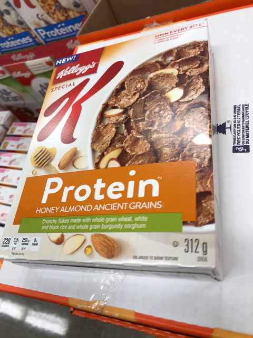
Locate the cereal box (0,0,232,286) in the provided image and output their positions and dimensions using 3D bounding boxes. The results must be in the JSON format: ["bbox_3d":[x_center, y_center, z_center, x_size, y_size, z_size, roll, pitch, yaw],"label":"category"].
[{"bbox_3d":[-0.011,-0.033,0.285,0.201,0.060,0.260,-6,60,24],"label":"cereal box"}]
